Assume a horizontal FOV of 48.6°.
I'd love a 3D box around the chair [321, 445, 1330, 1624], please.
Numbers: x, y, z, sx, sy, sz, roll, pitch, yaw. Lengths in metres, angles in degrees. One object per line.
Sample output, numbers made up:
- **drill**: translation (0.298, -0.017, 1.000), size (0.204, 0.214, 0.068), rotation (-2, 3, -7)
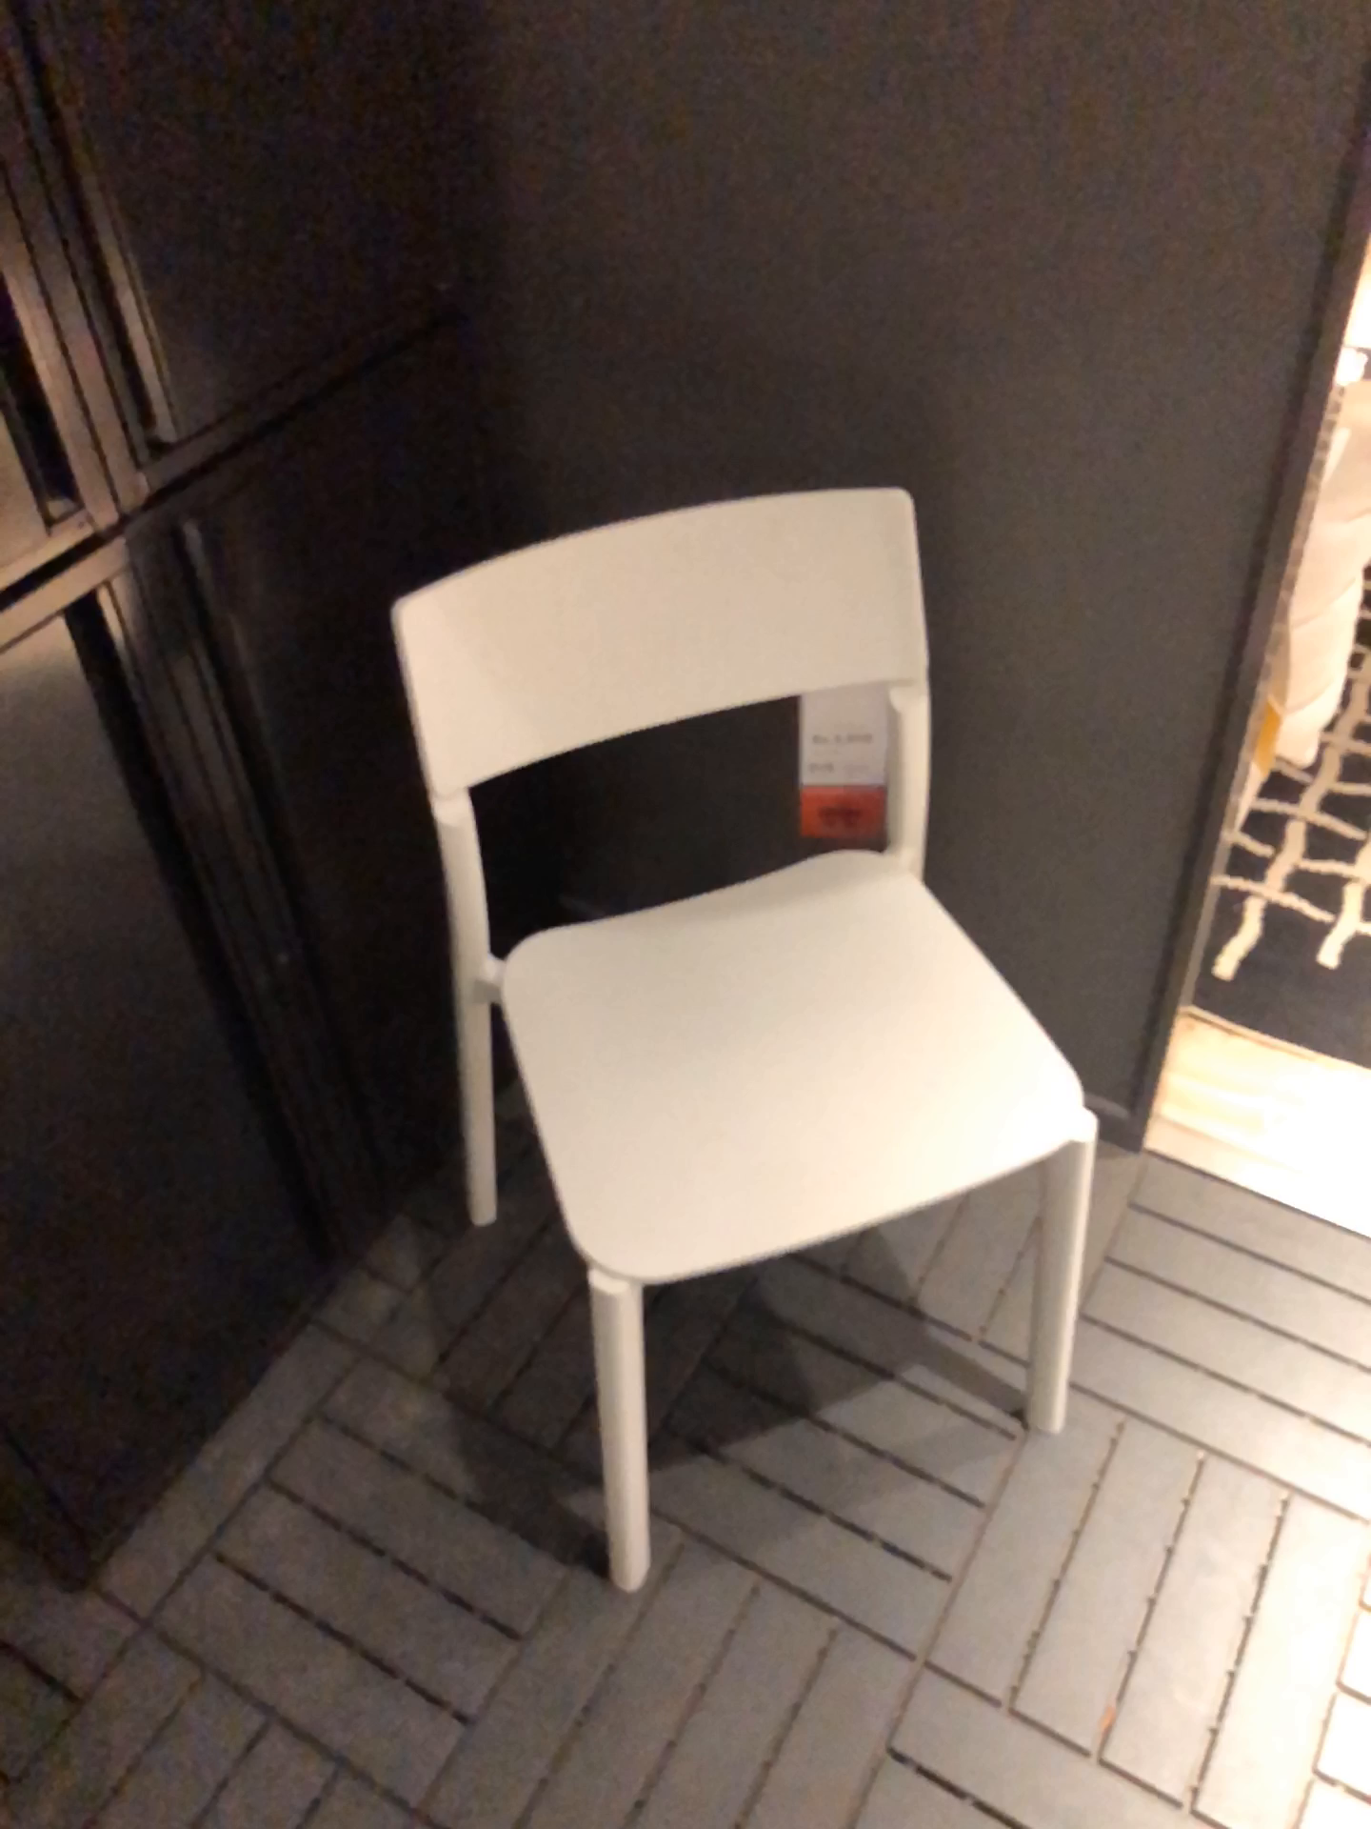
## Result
- **chair**: translation (0.068, 0.104, 1.212), size (0.500, 0.705, 0.473), rotation (-15, 44, -12)
